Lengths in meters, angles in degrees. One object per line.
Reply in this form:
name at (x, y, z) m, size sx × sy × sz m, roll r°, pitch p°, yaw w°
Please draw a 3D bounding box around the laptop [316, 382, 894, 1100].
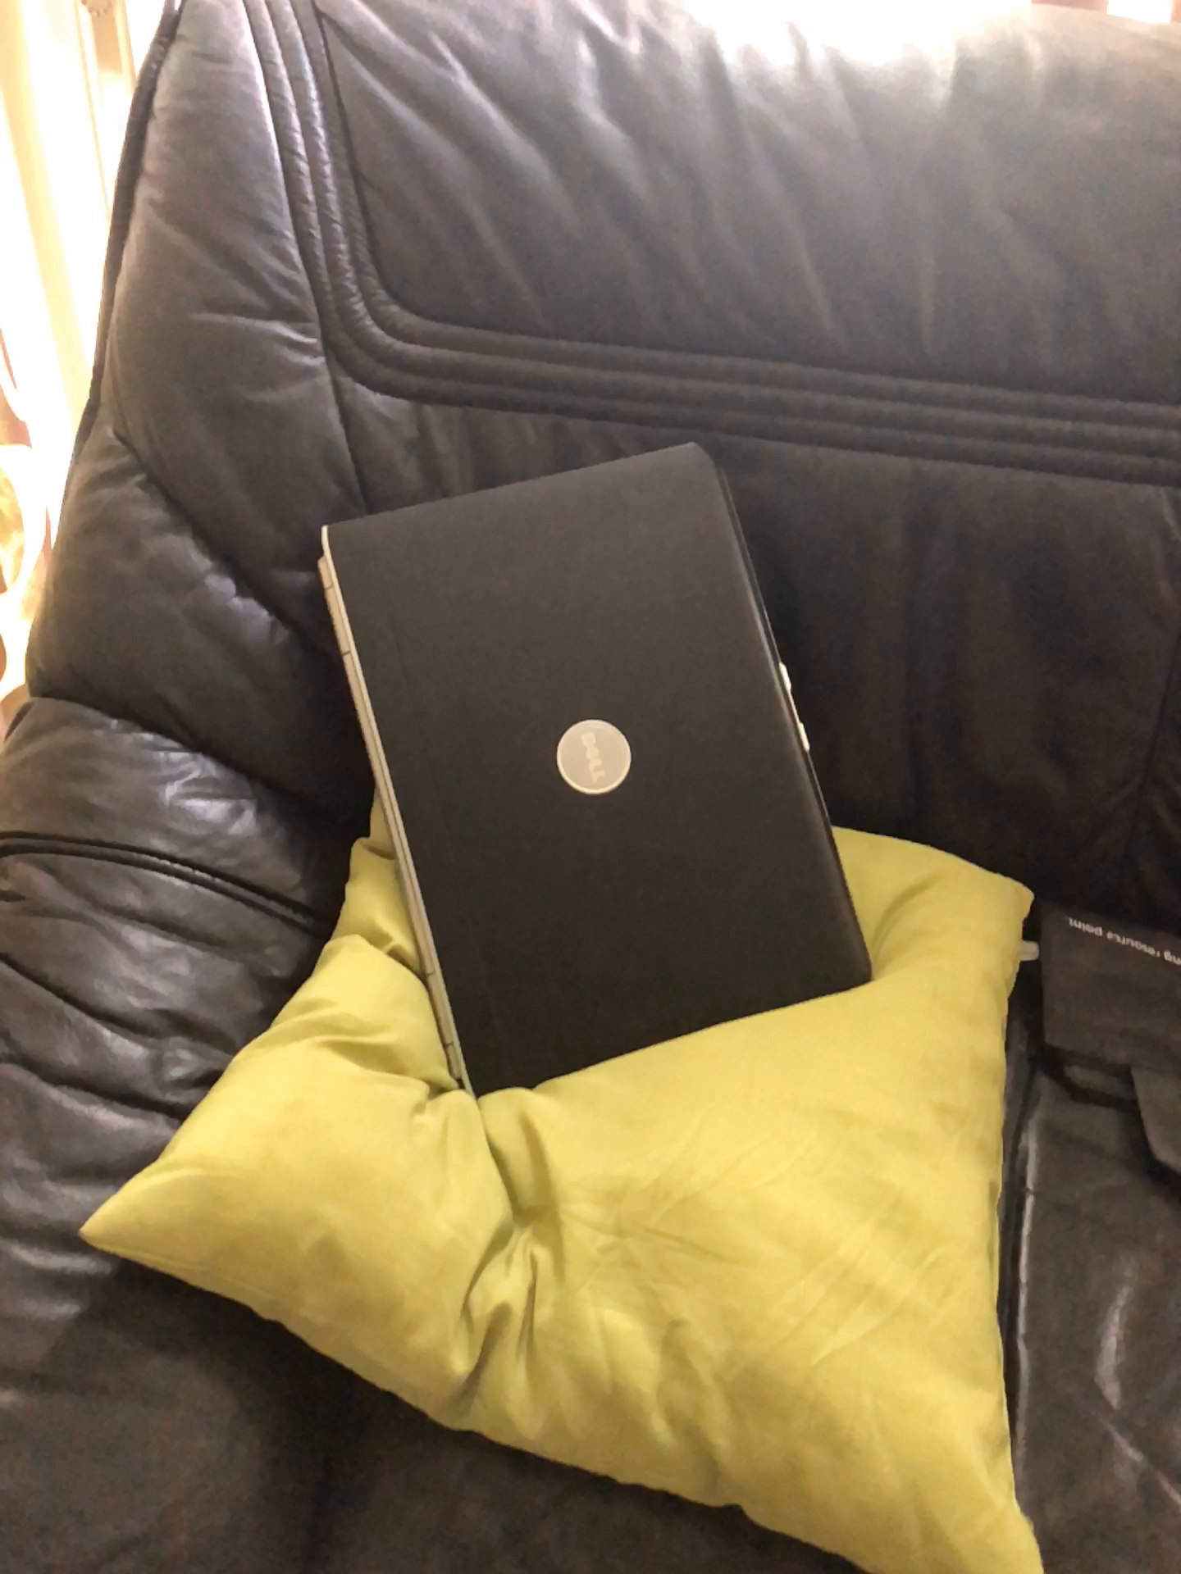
laptop at (0.005, -0.034, 0.758) m, size 0.247 × 0.033 × 0.345 m, roll -15°, pitch 82°, yaw -8°
